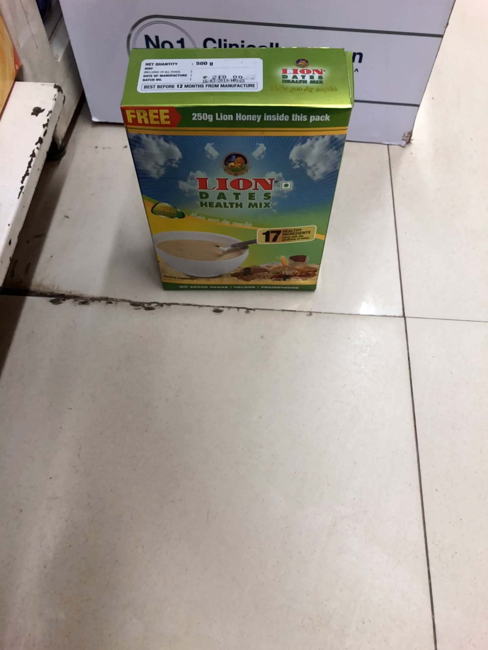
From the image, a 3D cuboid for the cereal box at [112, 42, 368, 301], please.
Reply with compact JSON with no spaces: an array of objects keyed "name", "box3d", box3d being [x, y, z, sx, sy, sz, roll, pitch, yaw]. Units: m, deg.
[{"name":"cereal box","box3d":[-0.001,-0.097,0.390,0.140,0.179,0.070,1,58,1]}]
